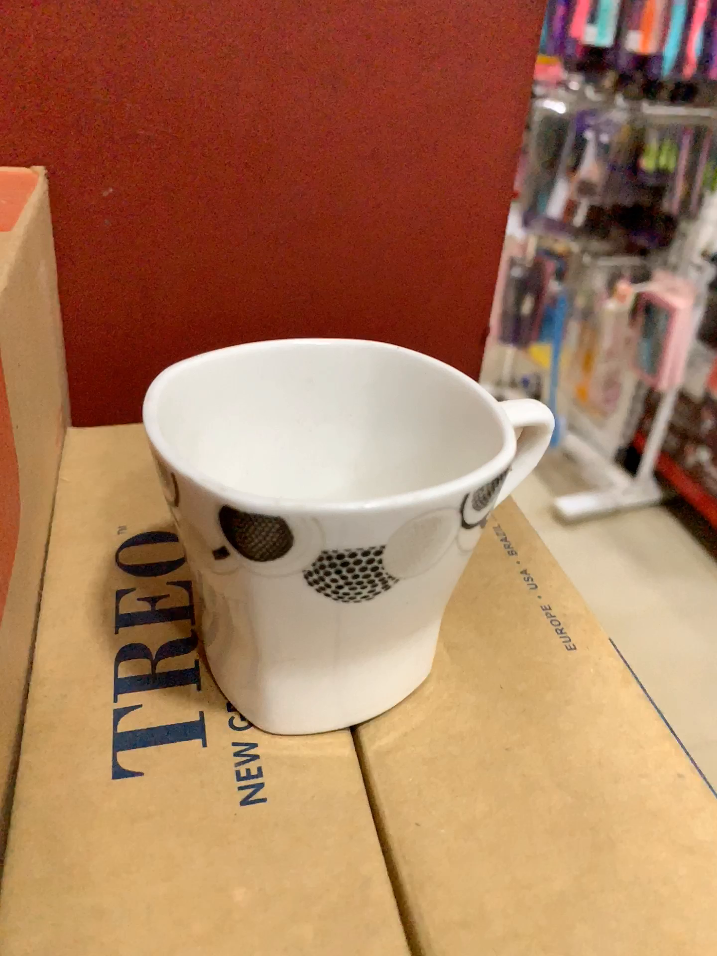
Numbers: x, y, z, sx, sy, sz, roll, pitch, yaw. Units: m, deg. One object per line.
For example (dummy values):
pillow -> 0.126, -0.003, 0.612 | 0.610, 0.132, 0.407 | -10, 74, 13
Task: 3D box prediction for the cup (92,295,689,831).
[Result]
cup -> 0.004, 0.008, 0.152 | 0.090, 0.060, 0.060 | -16, 38, -29
